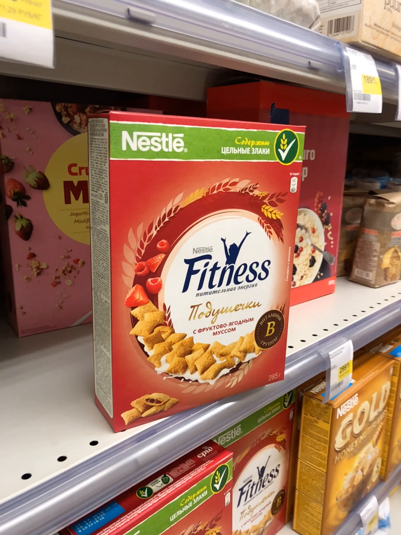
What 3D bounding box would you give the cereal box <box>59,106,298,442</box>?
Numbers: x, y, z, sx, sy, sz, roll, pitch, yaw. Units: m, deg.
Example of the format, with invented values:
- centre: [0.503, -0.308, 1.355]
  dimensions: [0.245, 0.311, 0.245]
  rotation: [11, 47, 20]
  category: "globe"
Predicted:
- centre: [-0.014, 0.000, 0.369]
  dimensions: [0.180, 0.239, 0.050]
  rotation: [-7, 18, -30]
  category: "cereal box"
